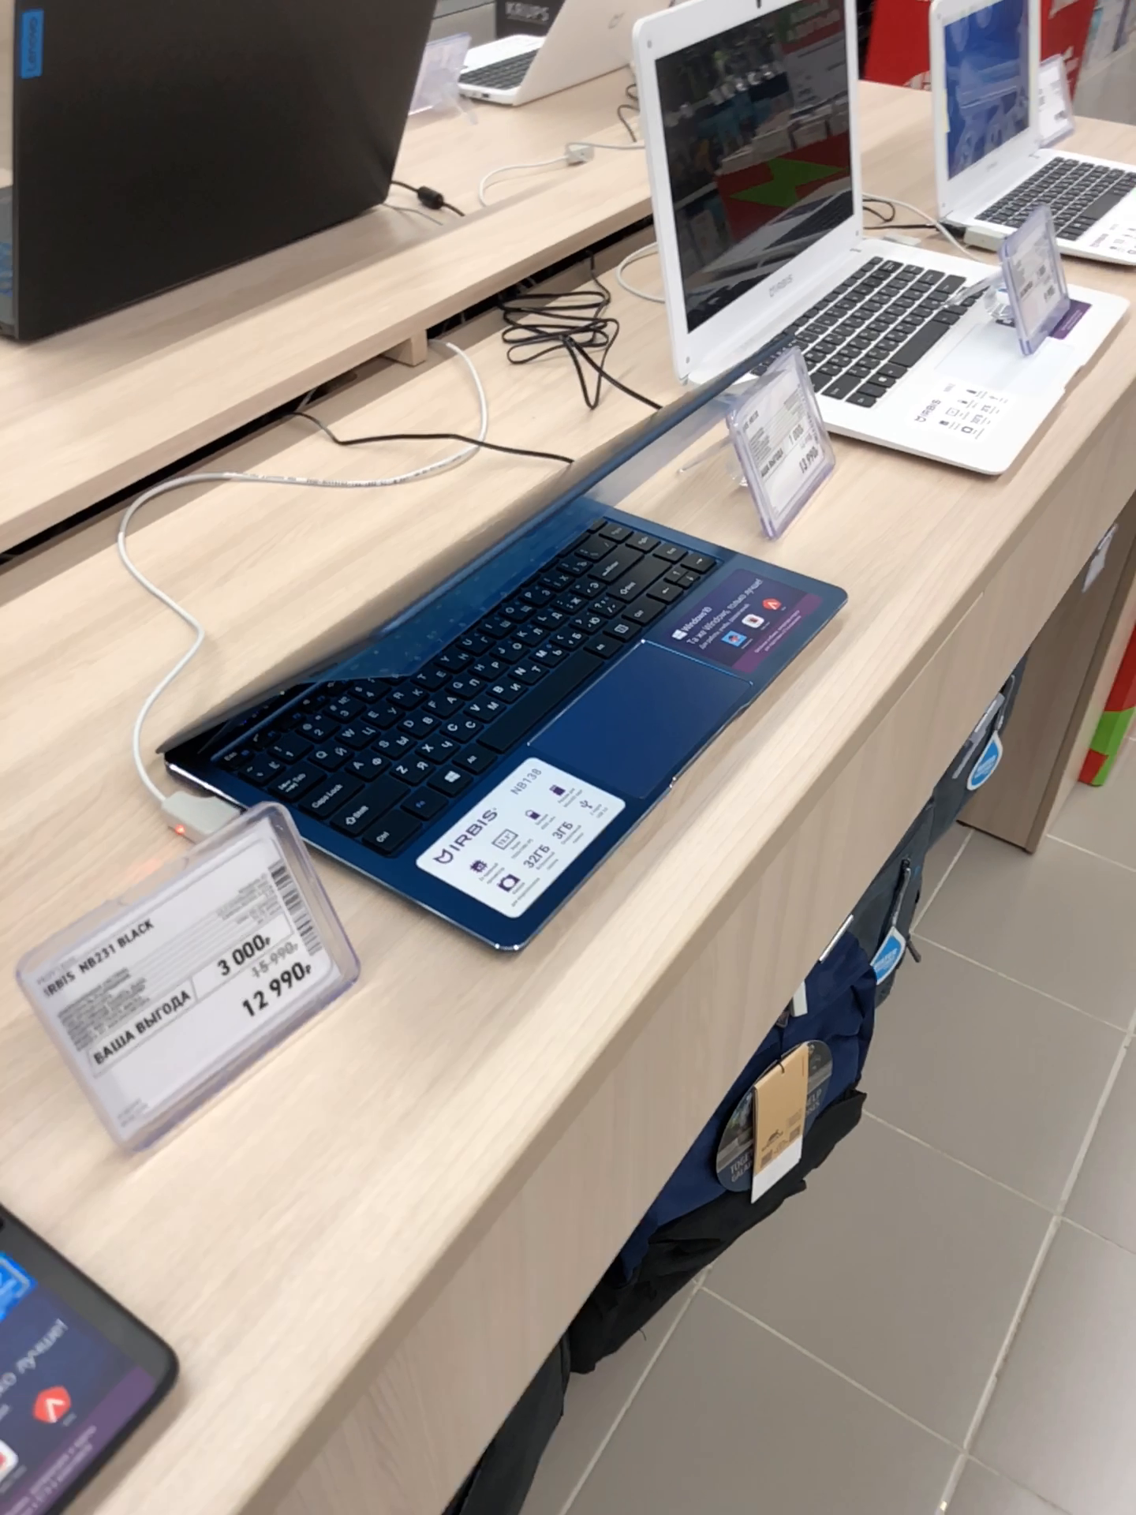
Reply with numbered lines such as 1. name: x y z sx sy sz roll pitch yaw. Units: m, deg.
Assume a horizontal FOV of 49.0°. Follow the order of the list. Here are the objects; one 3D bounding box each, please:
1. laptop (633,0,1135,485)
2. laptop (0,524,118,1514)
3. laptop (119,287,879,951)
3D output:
1. laptop: 0.251 -0.419 0.901 0.303 0.212 0.341 25 47 25
2. laptop: -0.336 0.133 0.282 0.323 0.165 0.294 26 46 25
3. laptop: -0.013 -0.091 0.596 0.189 0.124 0.309 27 47 24
